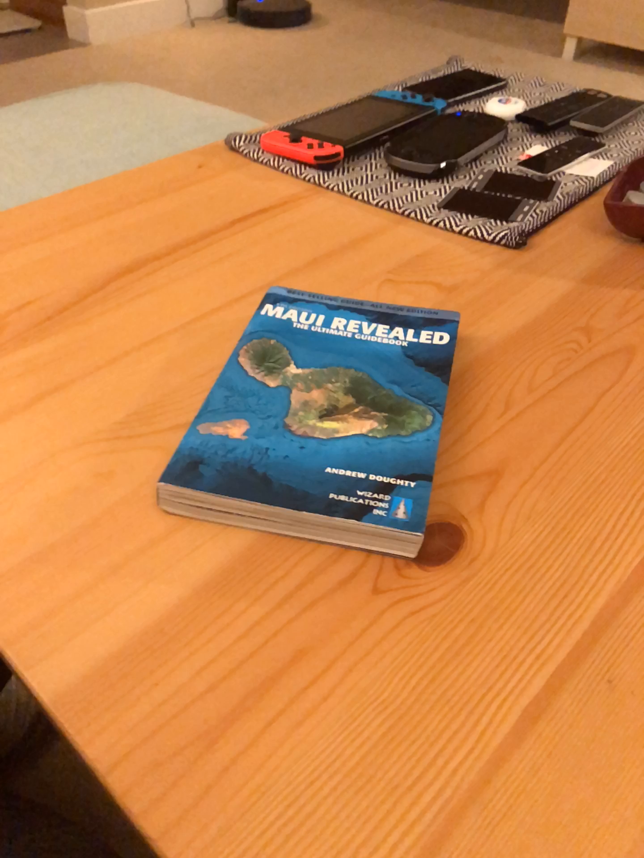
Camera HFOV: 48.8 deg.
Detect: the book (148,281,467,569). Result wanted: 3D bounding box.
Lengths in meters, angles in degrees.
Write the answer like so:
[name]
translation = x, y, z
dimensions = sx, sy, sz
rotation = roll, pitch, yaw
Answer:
[book]
translation = 0.005, -0.018, 0.427
dimensions = 0.146, 0.020, 0.201
rotation = 10, 44, 8
